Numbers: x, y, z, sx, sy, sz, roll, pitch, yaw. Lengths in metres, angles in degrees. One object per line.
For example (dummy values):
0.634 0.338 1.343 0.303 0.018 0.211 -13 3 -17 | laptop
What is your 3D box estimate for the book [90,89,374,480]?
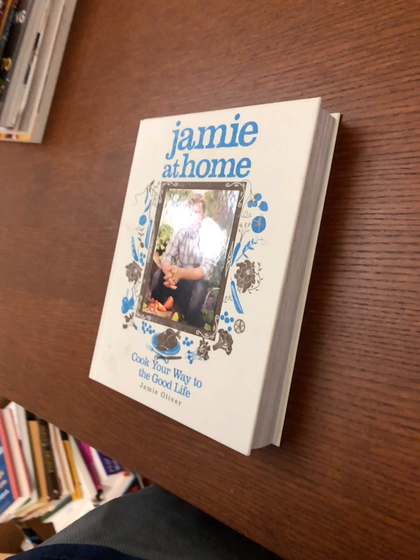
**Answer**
0.001 -0.010 0.389 0.211 0.040 0.260 12 89 43 | book
